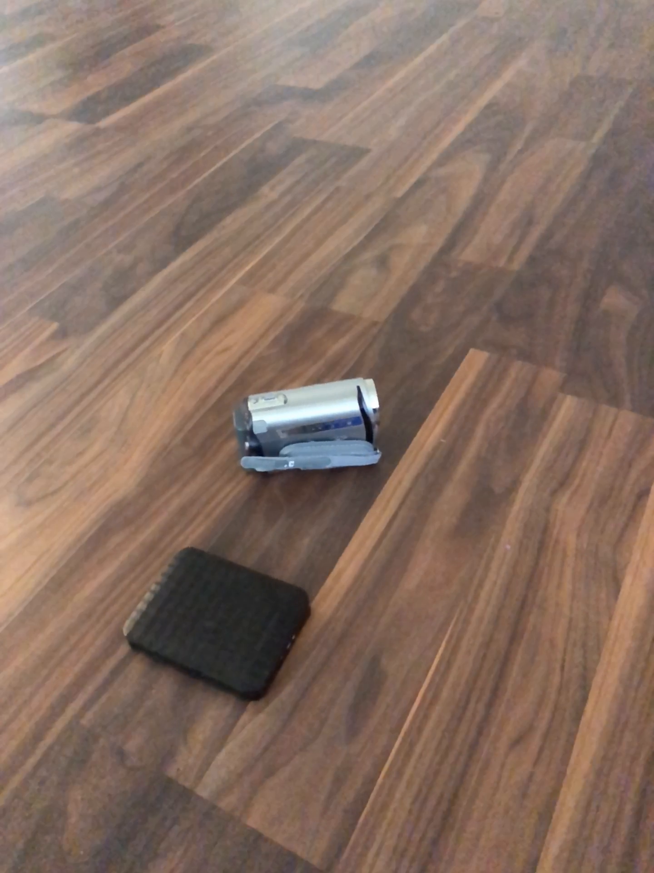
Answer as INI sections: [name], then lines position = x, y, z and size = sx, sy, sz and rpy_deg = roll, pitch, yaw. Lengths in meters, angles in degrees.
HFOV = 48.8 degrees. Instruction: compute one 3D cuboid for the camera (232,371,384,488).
[camera]
position = -0.015, -0.005, 0.591
size = 0.115, 0.065, 0.048
rpy_deg = -8, 44, -3
